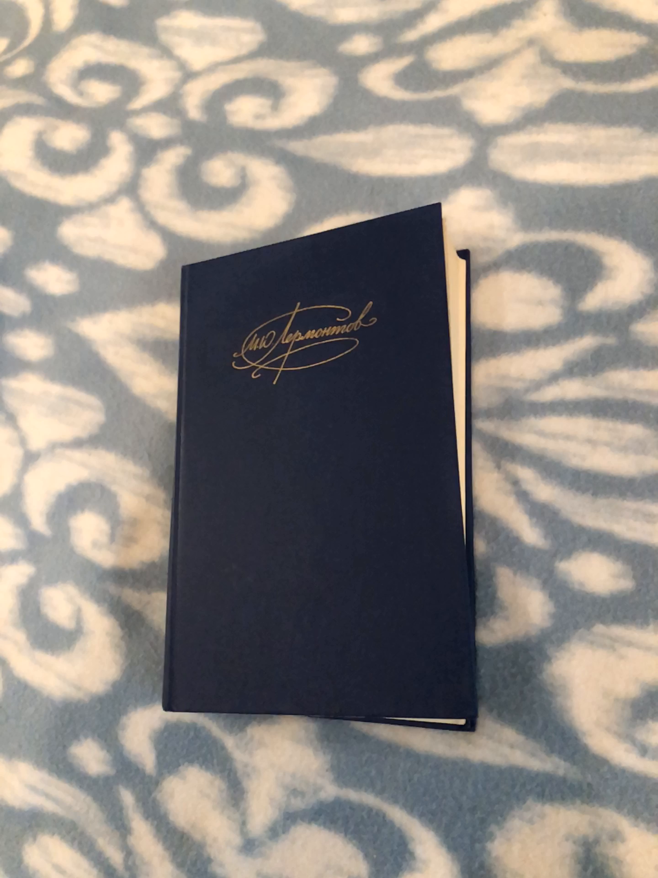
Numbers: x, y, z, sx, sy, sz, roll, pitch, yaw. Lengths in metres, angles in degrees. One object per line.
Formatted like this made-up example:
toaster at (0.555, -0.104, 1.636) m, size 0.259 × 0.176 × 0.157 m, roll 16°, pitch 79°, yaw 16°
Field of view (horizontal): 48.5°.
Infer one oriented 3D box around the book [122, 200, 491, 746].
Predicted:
book at (-0.011, 0.014, 0.307) m, size 0.139 × 0.040 × 0.200 m, roll -7°, pitch 74°, yaw 23°
